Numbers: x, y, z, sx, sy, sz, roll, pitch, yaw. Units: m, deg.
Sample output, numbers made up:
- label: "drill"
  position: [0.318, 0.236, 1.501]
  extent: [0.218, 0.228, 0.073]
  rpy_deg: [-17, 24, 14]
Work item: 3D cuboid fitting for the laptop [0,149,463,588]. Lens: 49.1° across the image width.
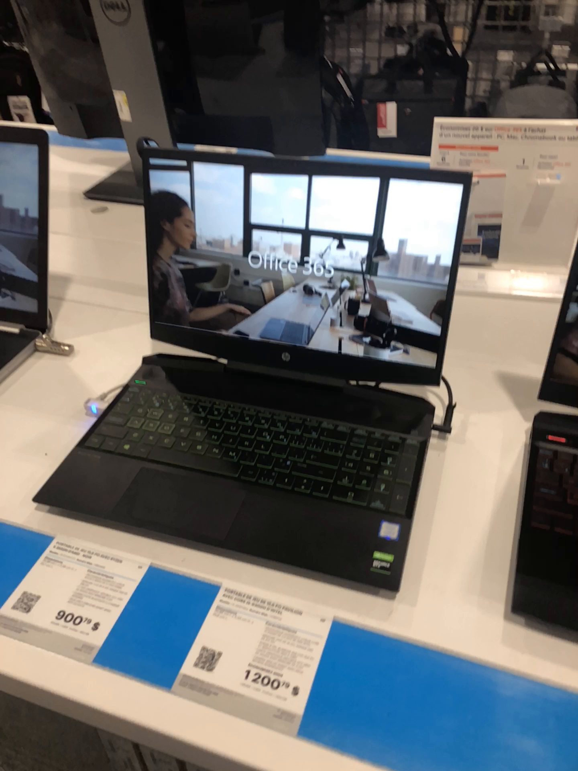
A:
- label: "laptop"
  position: [-0.038, -0.047, 0.619]
  extent: [0.355, 0.232, 0.317]
  rpy_deg: [10, 39, 14]
